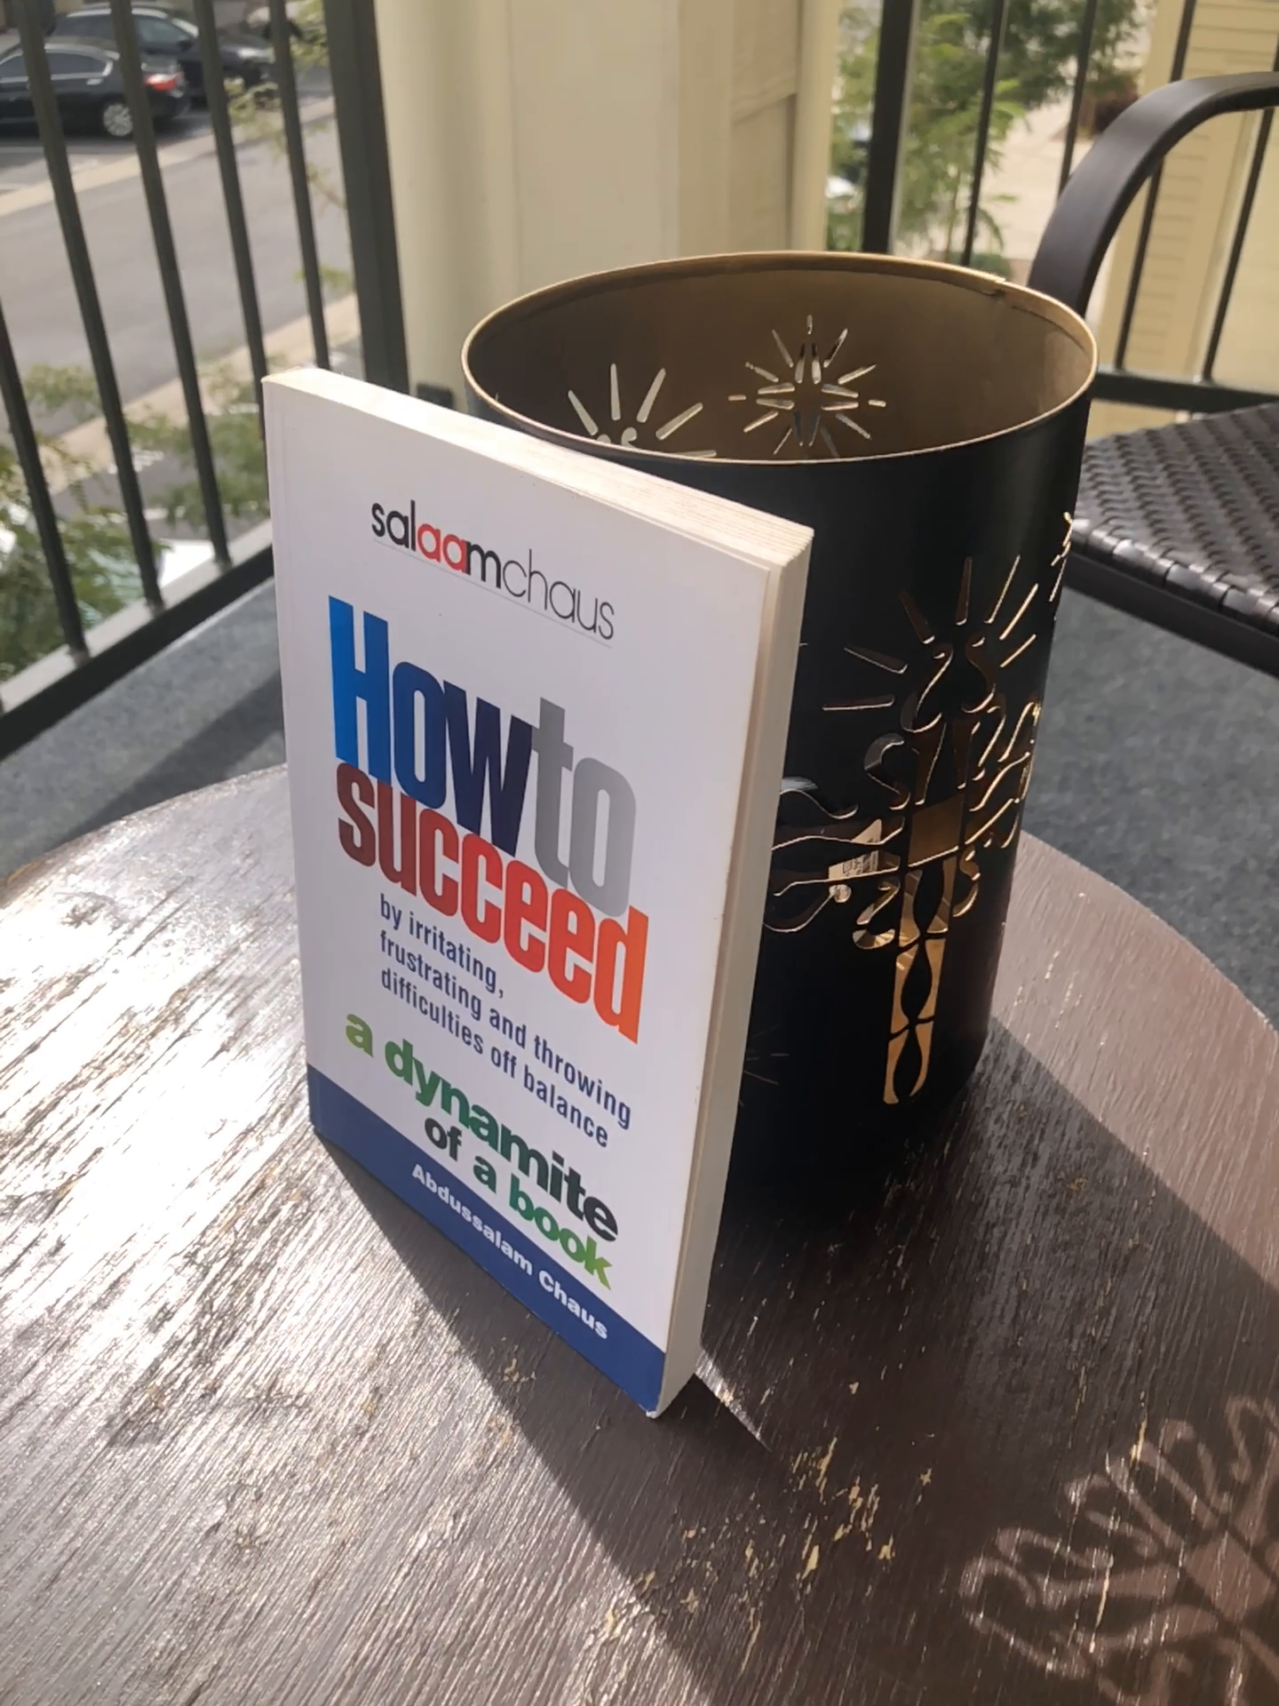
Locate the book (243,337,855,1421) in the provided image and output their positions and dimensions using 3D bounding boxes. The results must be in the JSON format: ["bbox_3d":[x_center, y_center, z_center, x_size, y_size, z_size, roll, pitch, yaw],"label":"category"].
[{"bbox_3d":[-0.031,0.010,0.311,0.139,0.207,0.018,28,38,33],"label":"book"}]
